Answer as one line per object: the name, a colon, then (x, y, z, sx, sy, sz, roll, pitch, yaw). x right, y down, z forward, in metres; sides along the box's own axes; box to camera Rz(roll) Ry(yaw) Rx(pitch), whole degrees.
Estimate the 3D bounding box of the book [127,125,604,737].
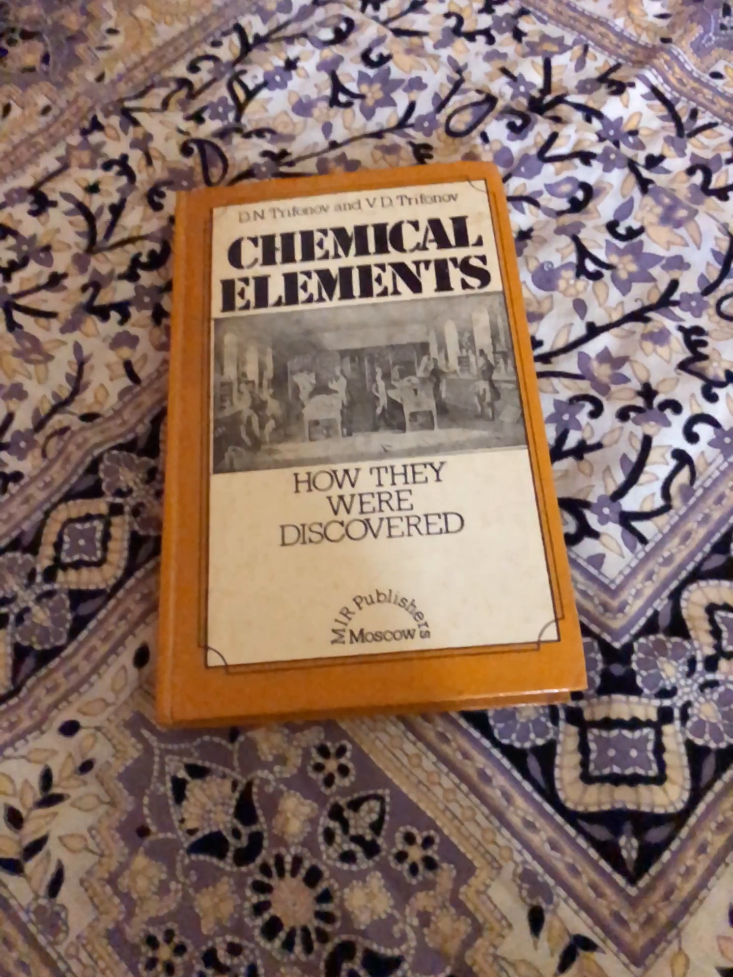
book: (-0.008, -0.031, 0.296, 0.140, 0.030, 0.220, -5, 67, 2)
